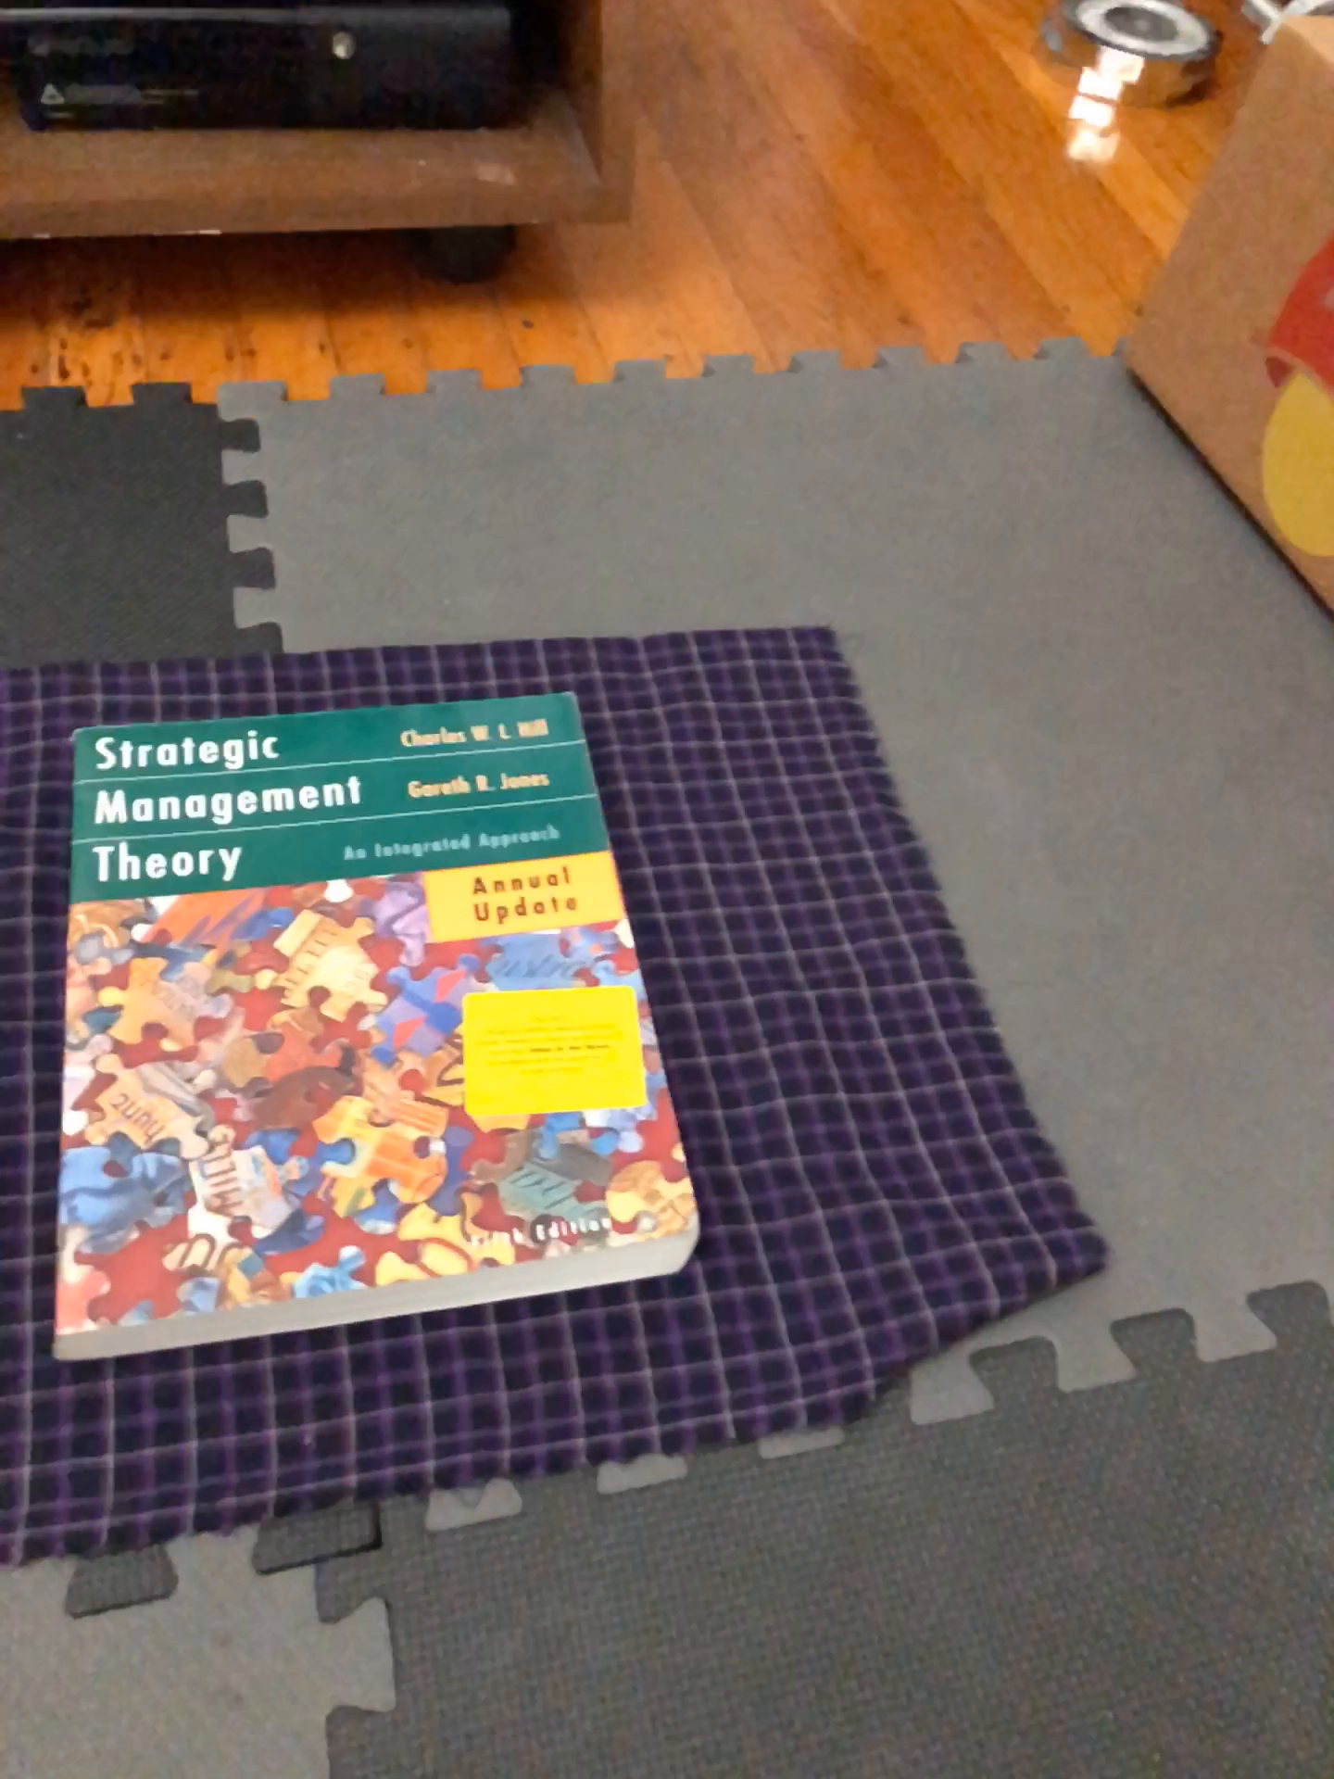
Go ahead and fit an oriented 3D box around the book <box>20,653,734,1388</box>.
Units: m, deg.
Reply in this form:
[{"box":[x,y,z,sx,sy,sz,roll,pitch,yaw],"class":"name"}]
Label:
[{"box":[-0.118,0.030,0.573,0.230,0.040,0.281,-6,55,-11],"class":"book"}]
